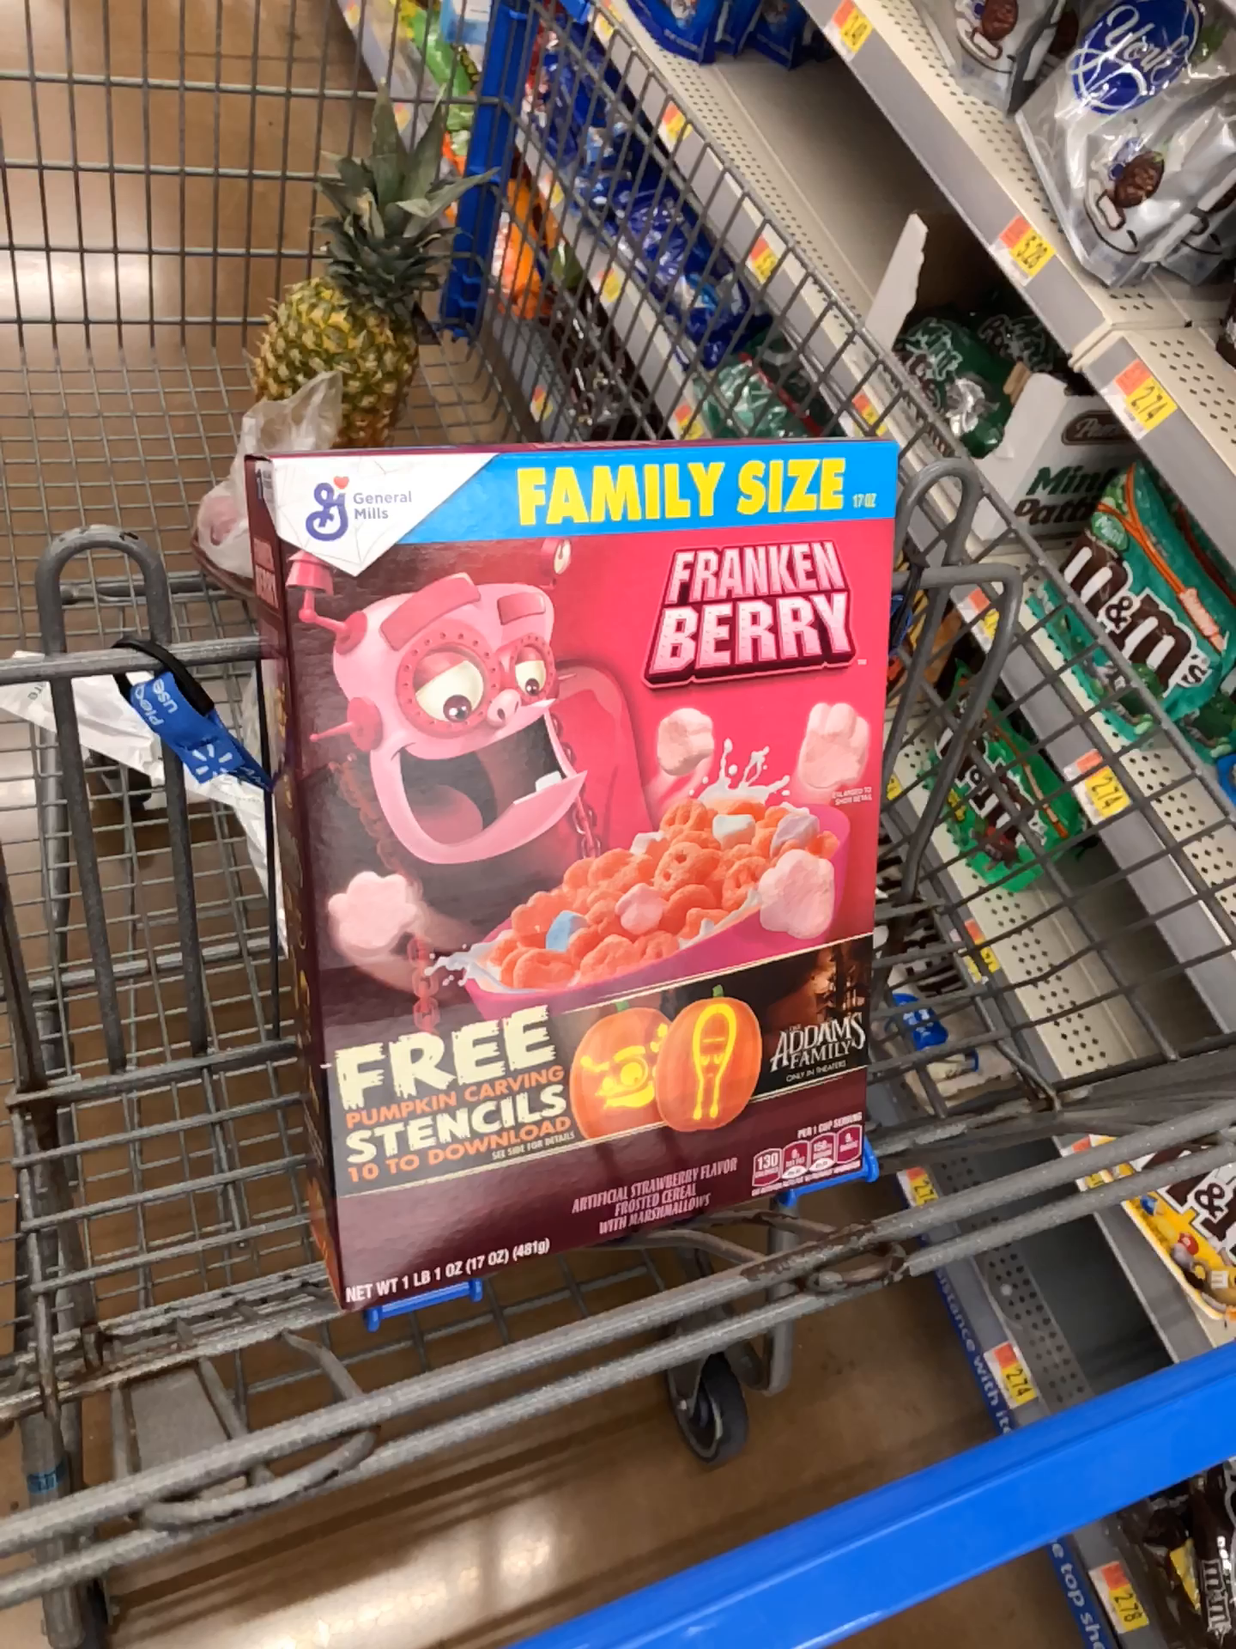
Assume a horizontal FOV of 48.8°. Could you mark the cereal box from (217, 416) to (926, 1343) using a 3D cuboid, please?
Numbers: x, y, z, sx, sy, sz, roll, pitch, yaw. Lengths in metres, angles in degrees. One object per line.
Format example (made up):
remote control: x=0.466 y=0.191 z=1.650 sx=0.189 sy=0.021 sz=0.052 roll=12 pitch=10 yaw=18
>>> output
cereal box: x=-0.010 y=0.012 z=0.527 sx=0.240 sy=0.320 sz=0.070 roll=-8 pitch=19 yaw=-22
